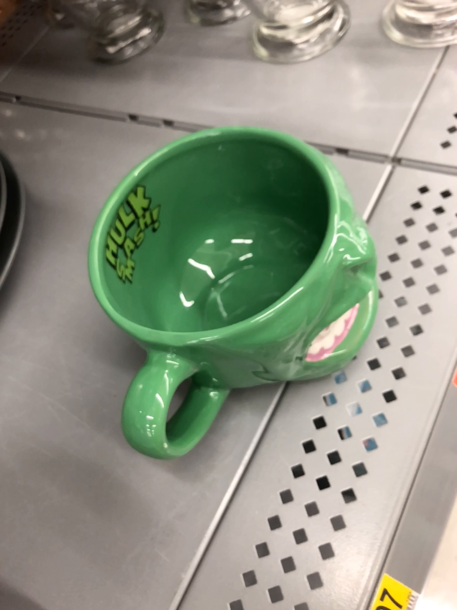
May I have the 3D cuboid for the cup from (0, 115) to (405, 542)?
[{"bbox_3d":[0.000,0.005,0.240,0.116,0.089,0.148,16,67,25],"label":"cup"}]
